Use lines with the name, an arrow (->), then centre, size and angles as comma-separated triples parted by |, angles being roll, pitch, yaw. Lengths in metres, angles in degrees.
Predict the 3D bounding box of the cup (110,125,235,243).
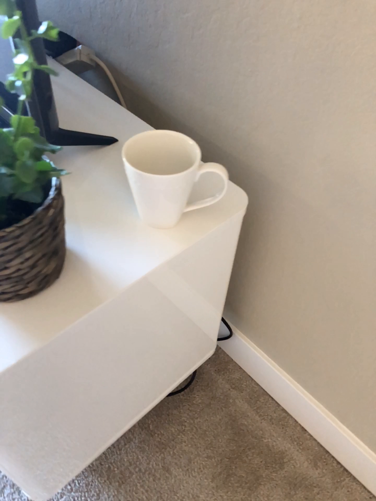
cup -> -0.017, -0.083, 0.517 | 0.130, 0.090, 0.090 | 10, 48, 4
